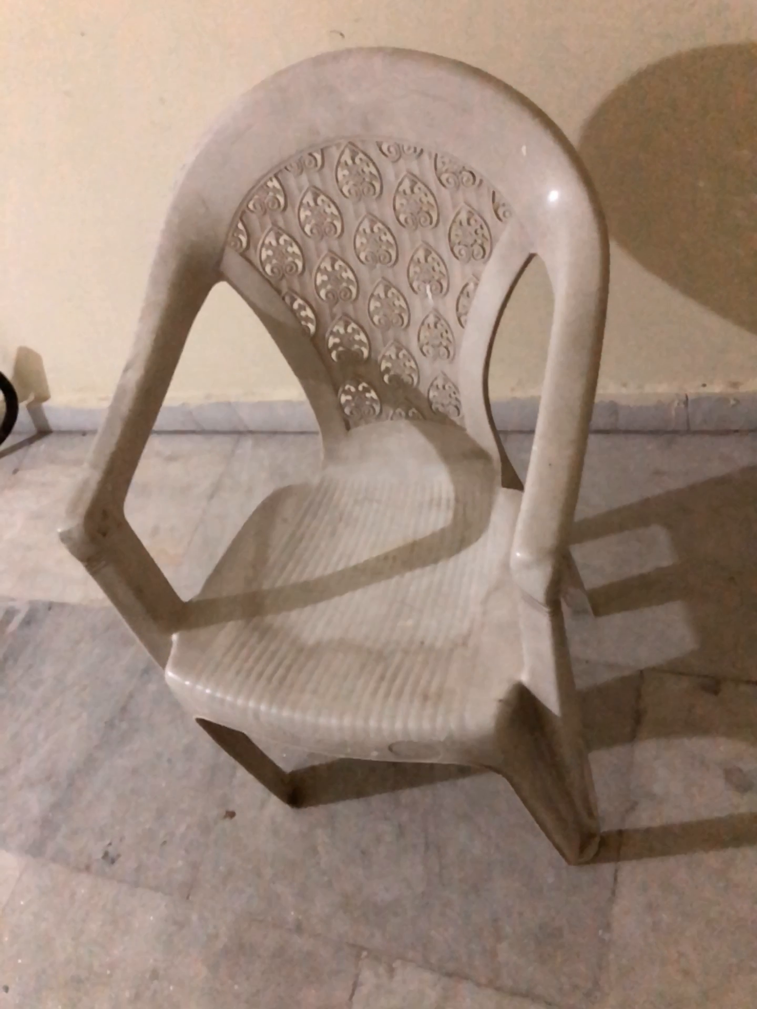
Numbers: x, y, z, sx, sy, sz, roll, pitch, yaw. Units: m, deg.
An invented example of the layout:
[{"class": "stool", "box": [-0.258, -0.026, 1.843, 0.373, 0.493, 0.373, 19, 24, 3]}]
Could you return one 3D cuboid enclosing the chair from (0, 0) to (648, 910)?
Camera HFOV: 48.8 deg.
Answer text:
[{"class": "chair", "box": [-0.036, 0.029, 0.950, 0.530, 0.836, 0.513, 3, 55, 26]}]
